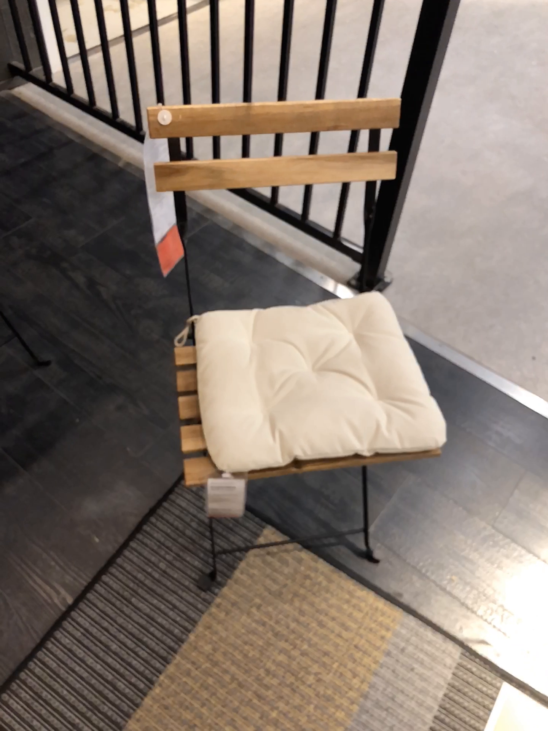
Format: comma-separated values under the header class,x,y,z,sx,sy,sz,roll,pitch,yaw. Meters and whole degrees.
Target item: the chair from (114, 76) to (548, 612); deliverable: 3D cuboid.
class,x,y,z,sx,sy,sz,roll,pitch,yaw
chair,0.024,0.016,1.007,0.450,0.758,0.461,-6,52,-9
